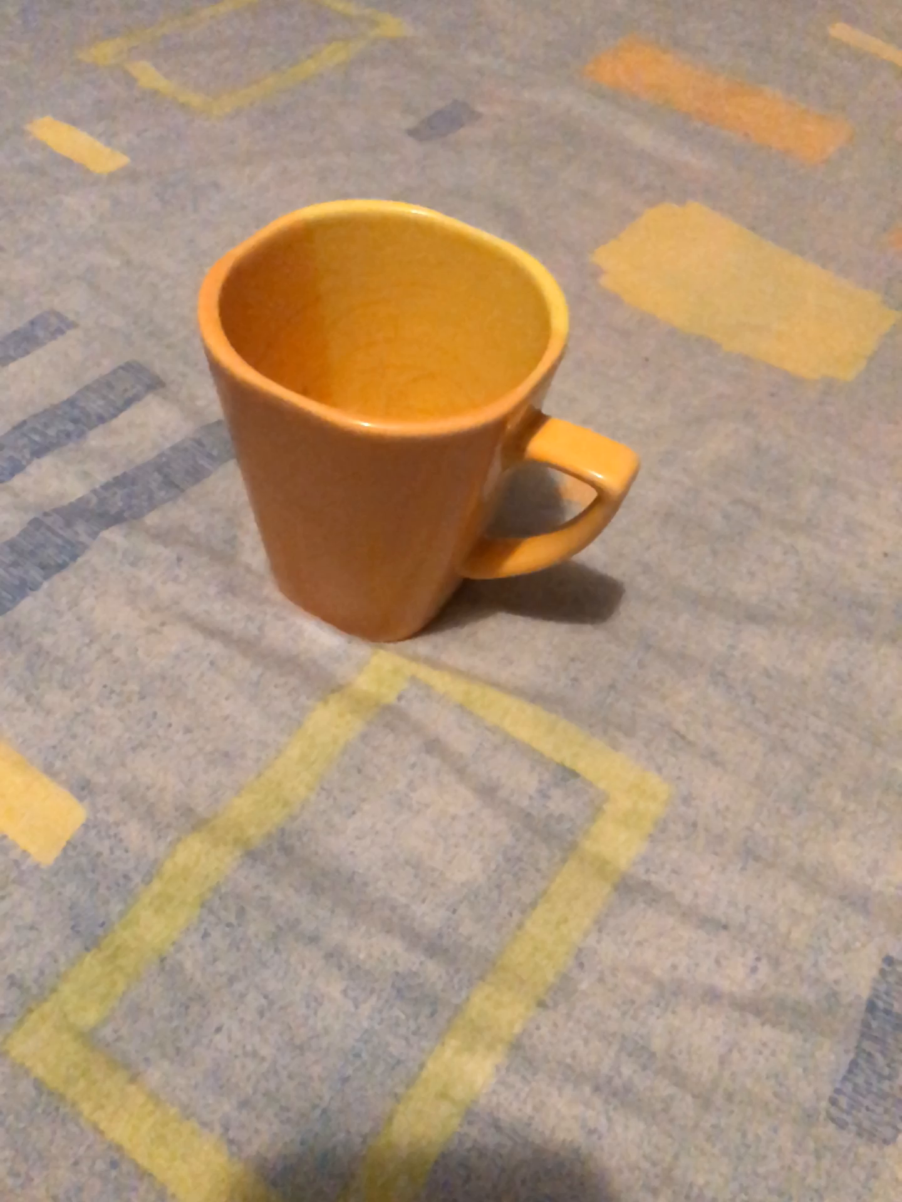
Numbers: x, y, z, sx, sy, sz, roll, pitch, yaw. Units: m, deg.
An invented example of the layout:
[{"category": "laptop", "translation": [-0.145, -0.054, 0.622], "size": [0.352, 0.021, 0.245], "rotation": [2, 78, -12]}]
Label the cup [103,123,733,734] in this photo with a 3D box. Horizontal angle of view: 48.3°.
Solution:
[{"category": "cup", "translation": [-0.008, -0.045, 0.254], "size": [0.111, 0.082, 0.084], "rotation": [29, 56, 15]}]
